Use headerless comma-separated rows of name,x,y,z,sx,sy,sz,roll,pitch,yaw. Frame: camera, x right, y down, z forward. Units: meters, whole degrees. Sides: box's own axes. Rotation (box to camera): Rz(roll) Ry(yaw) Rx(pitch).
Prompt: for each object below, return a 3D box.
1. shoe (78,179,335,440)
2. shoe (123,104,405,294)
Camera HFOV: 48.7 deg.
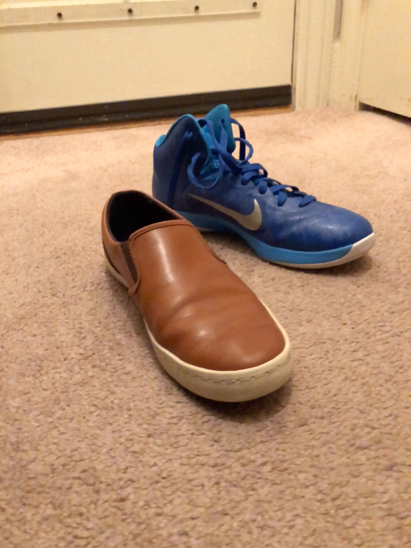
shoe,-0.023,0.001,0.414,0.105,0.083,0.283,-17,33,-22
shoe,0.056,-0.106,0.538,0.292,0.142,0.116,19,36,33
